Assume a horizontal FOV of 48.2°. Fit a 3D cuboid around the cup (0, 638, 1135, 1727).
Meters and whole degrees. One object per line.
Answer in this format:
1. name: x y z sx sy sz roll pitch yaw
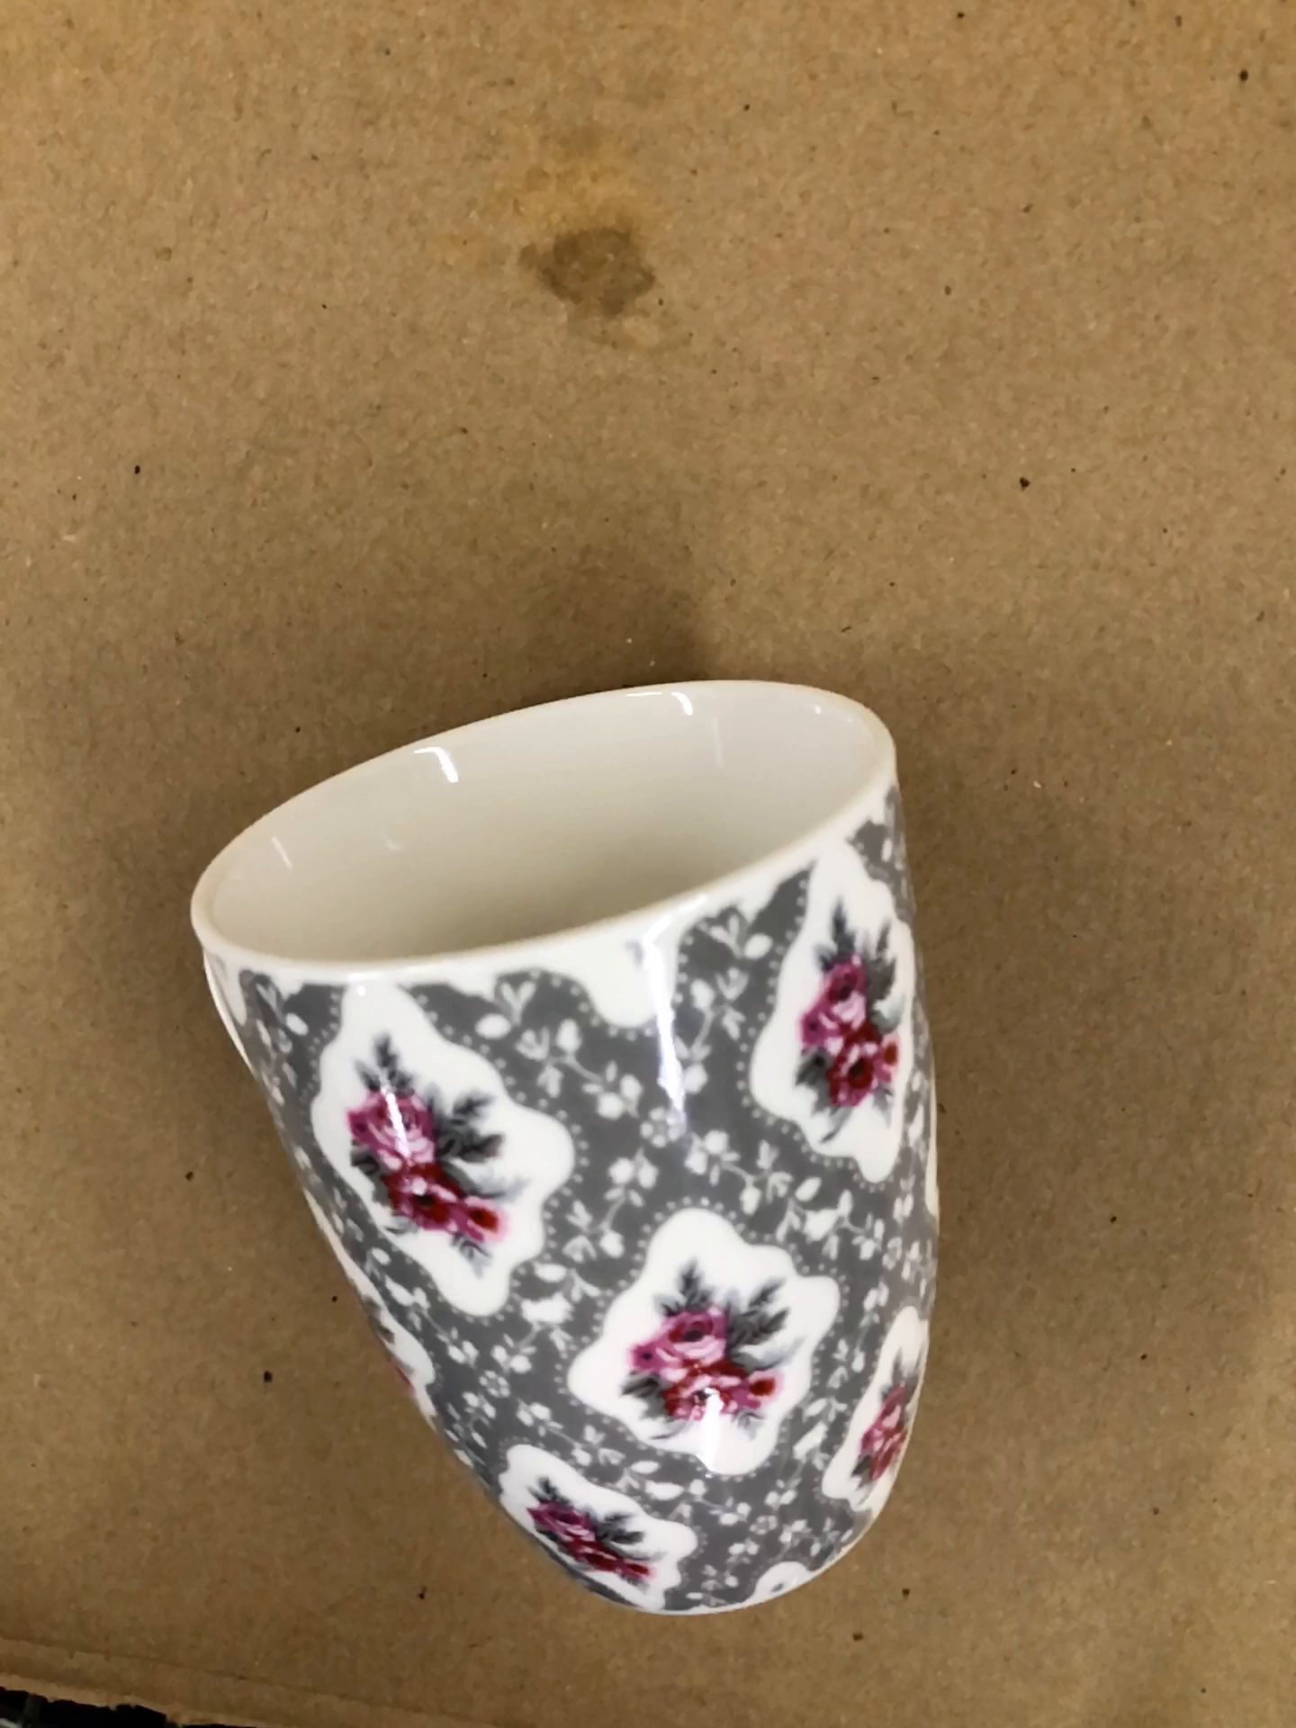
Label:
1. cup: -0.009 0.038 0.174 0.100 0.080 0.110 20 125 32
